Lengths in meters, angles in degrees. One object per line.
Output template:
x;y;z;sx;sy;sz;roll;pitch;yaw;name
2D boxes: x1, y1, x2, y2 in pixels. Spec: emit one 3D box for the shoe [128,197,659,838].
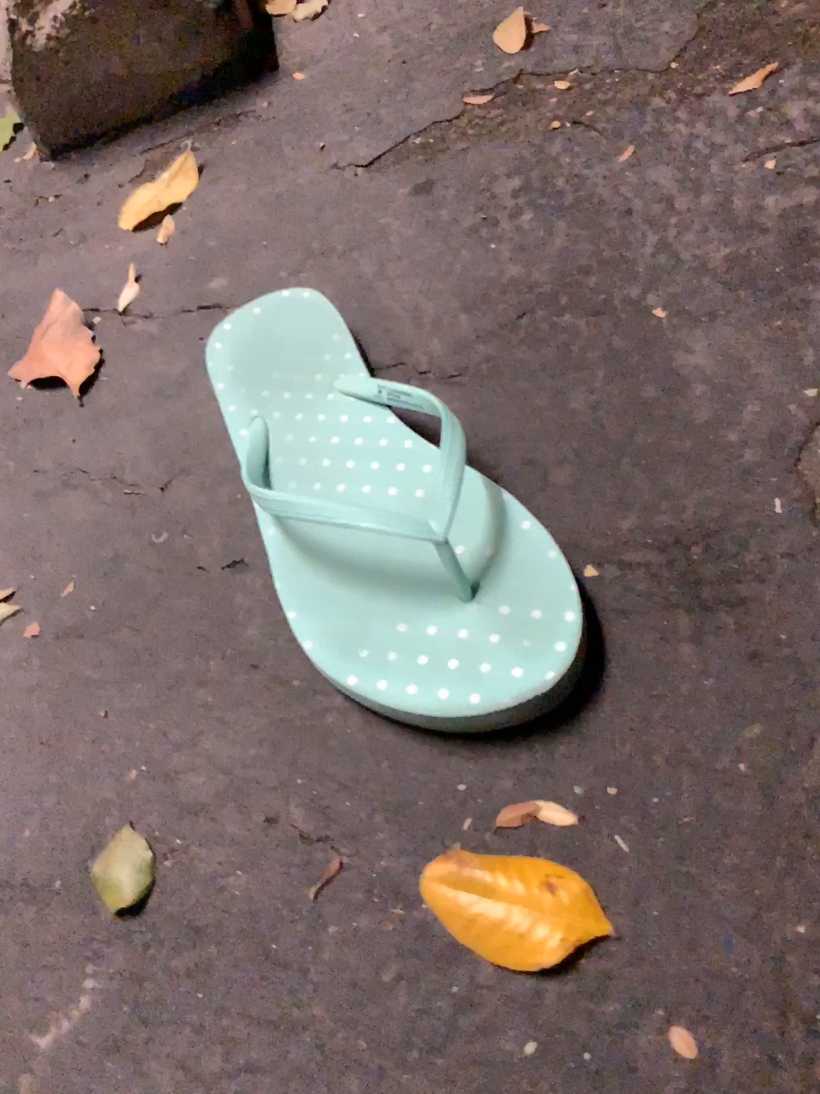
-0.024;-0.036;0.389;0.120;0.050;0.280;-27;54;-4;shoe
